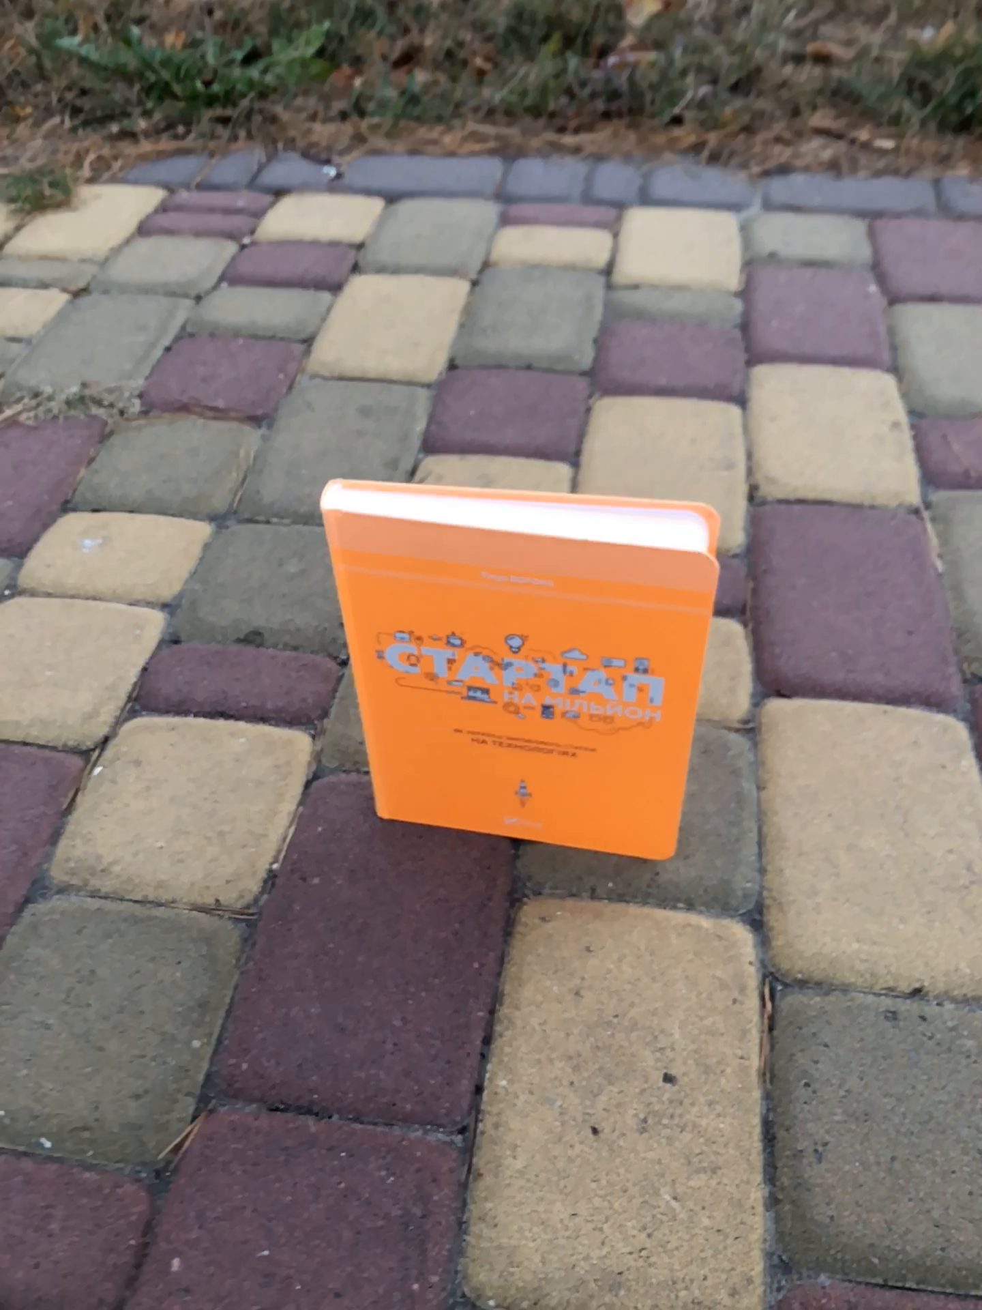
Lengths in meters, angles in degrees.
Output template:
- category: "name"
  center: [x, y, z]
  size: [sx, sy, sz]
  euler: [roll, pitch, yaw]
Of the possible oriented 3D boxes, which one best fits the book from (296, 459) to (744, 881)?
- category: "book"
  center: [0.015, 0.015, 0.480]
  size: [0.164, 0.200, 0.040]
  euler: [7, 47, 10]
